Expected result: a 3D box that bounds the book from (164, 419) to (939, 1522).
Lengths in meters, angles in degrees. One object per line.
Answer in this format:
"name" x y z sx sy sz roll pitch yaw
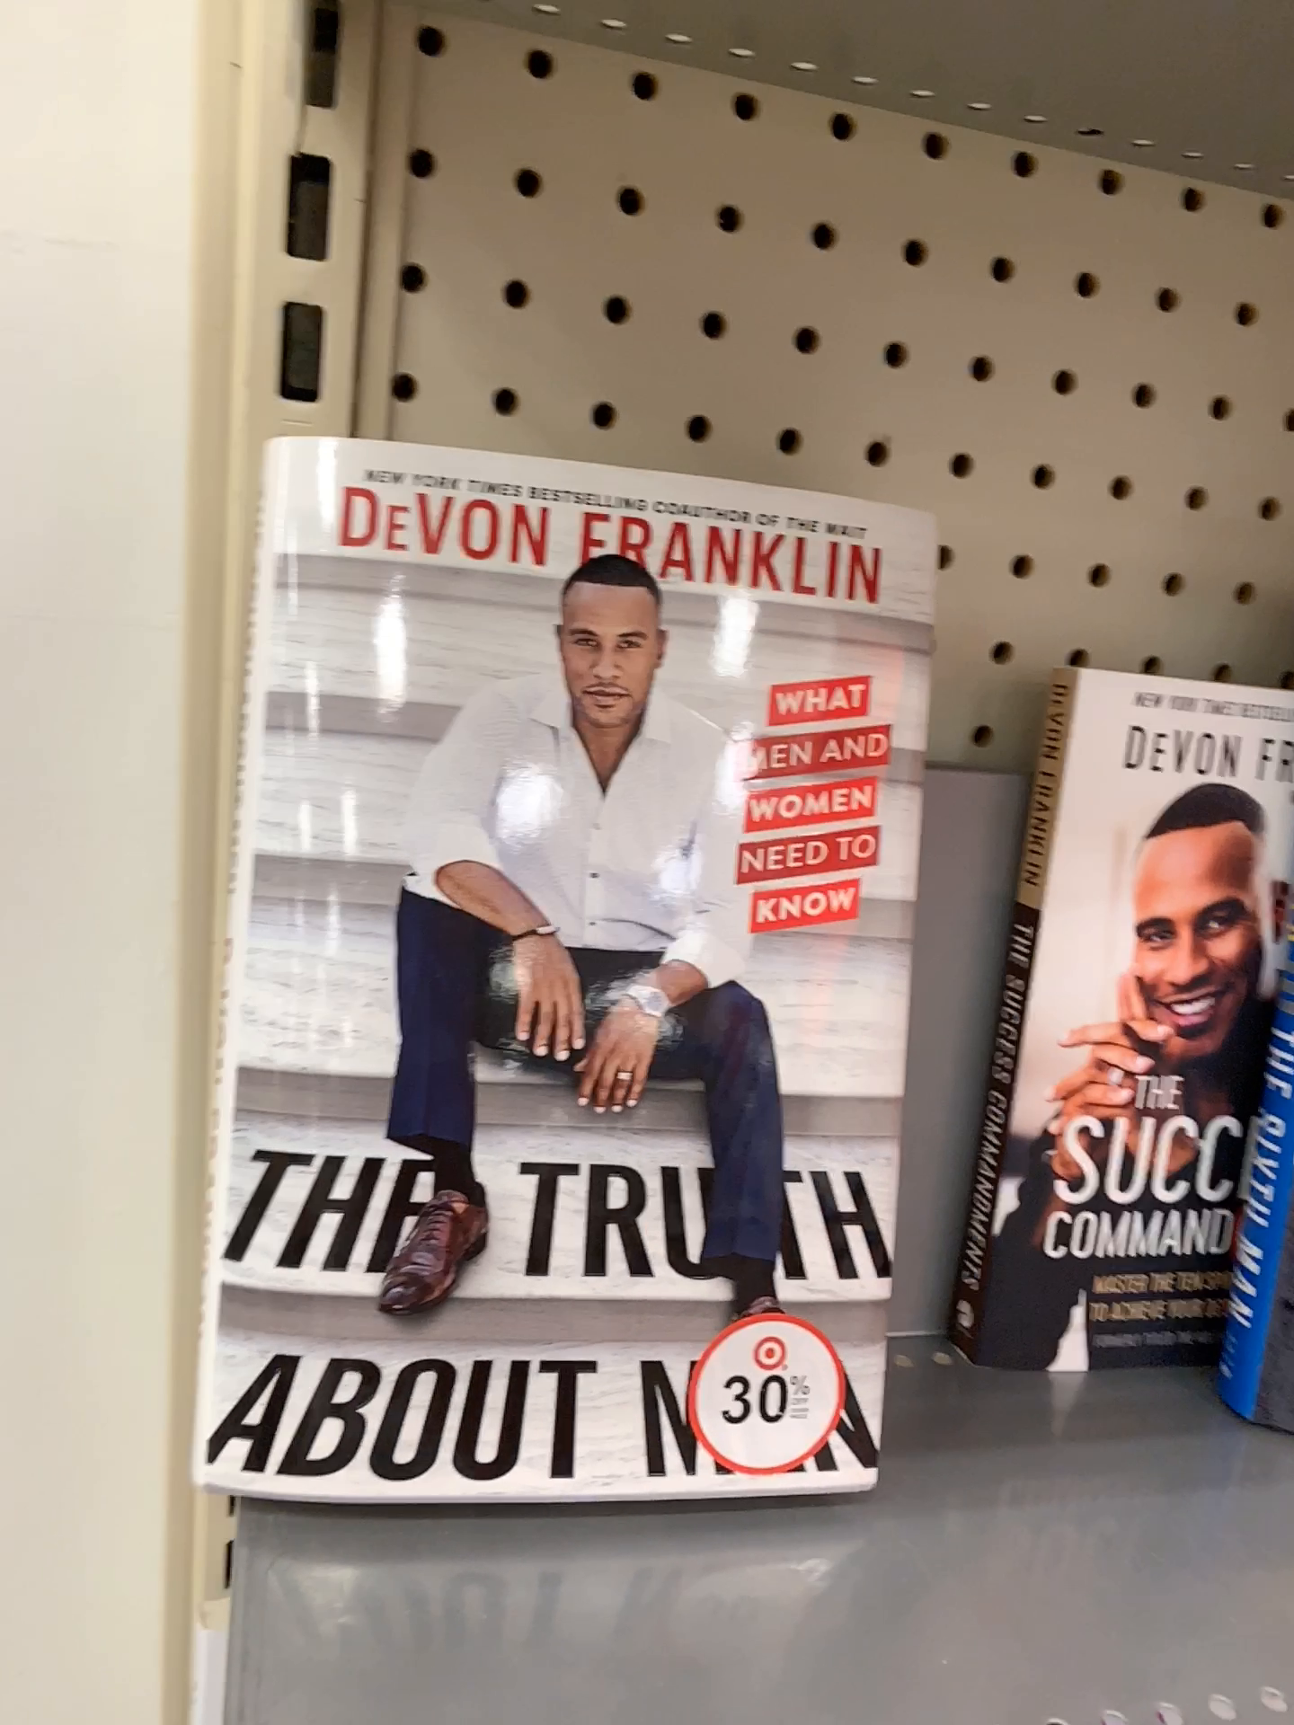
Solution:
"book" -0.020 0.027 0.322 0.160 0.236 0.040 4 -1 -11
